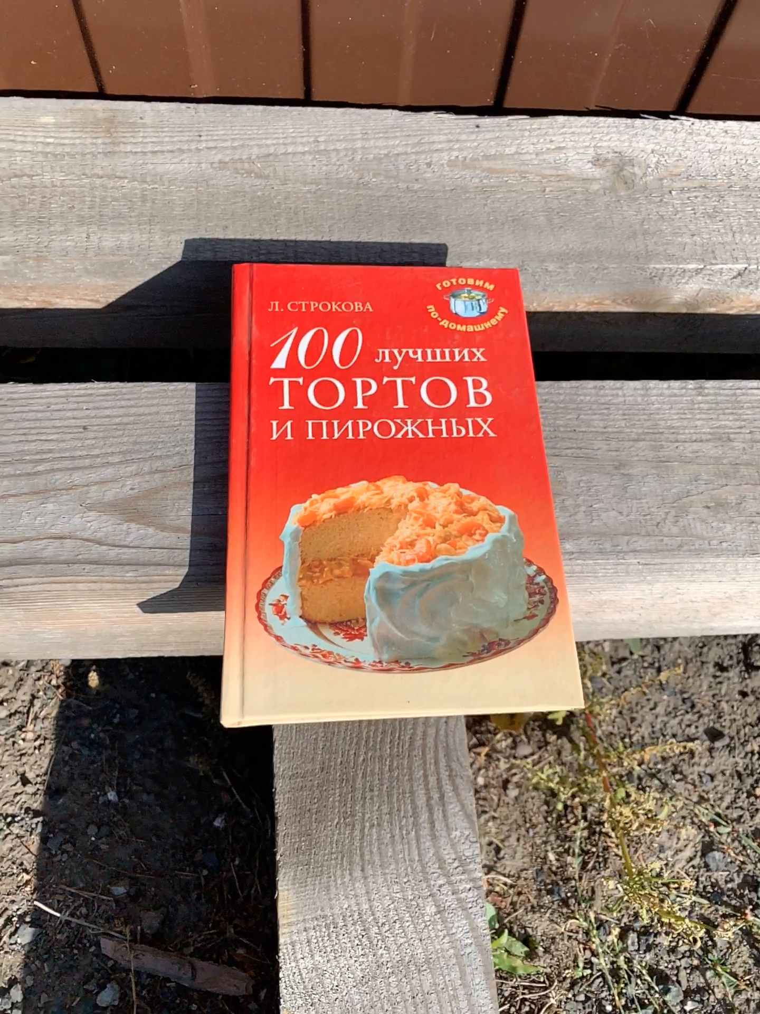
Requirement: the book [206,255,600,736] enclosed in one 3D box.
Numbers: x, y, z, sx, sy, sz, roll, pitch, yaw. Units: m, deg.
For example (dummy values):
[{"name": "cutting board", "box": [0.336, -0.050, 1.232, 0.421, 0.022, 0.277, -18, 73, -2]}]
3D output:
[{"name": "book", "box": [0.004, -0.018, 0.337, 0.143, 0.017, 0.218, -1, 64, -5]}]
